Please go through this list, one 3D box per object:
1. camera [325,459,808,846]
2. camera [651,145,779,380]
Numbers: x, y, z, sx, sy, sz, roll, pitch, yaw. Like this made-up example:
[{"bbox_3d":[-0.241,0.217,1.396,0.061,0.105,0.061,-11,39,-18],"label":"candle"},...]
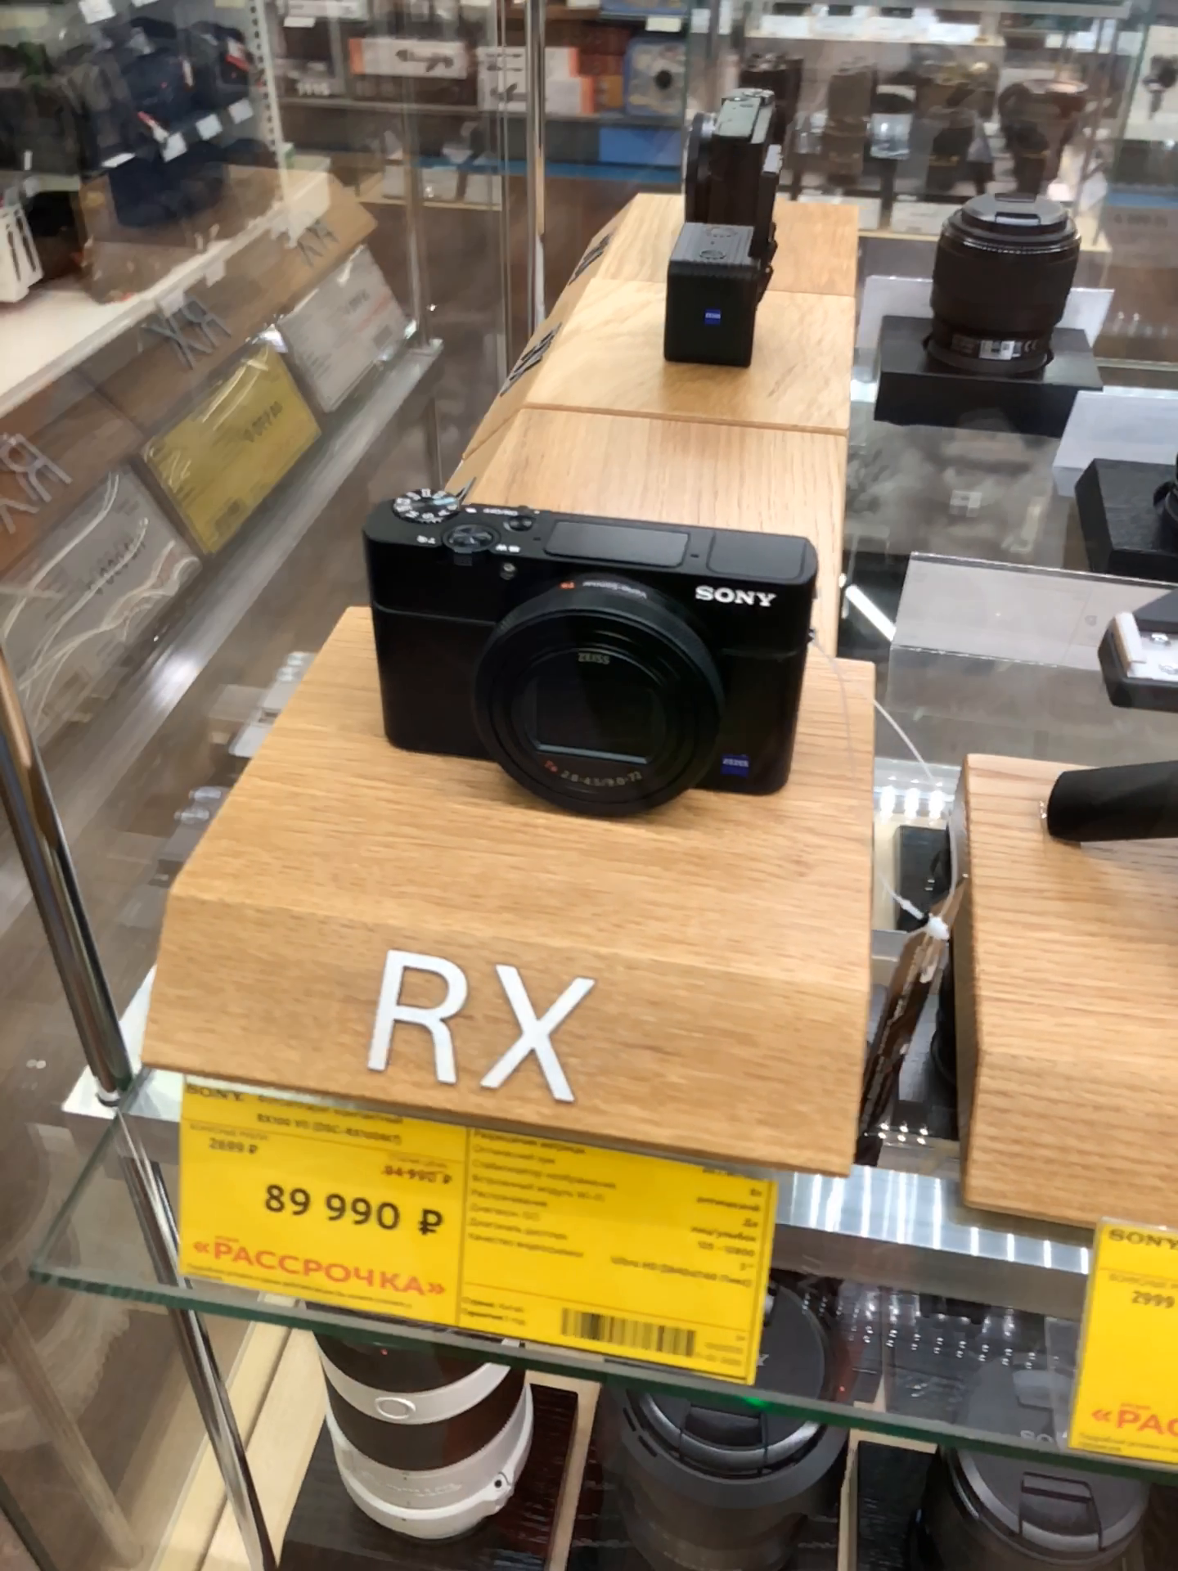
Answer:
[{"bbox_3d":[-0.004,-0.031,0.306,0.100,0.070,0.040,7,39,8],"label":"camera"},{"bbox_3d":[0.048,-0.200,0.496,0.040,0.070,0.052,6,39,7],"label":"camera"}]
